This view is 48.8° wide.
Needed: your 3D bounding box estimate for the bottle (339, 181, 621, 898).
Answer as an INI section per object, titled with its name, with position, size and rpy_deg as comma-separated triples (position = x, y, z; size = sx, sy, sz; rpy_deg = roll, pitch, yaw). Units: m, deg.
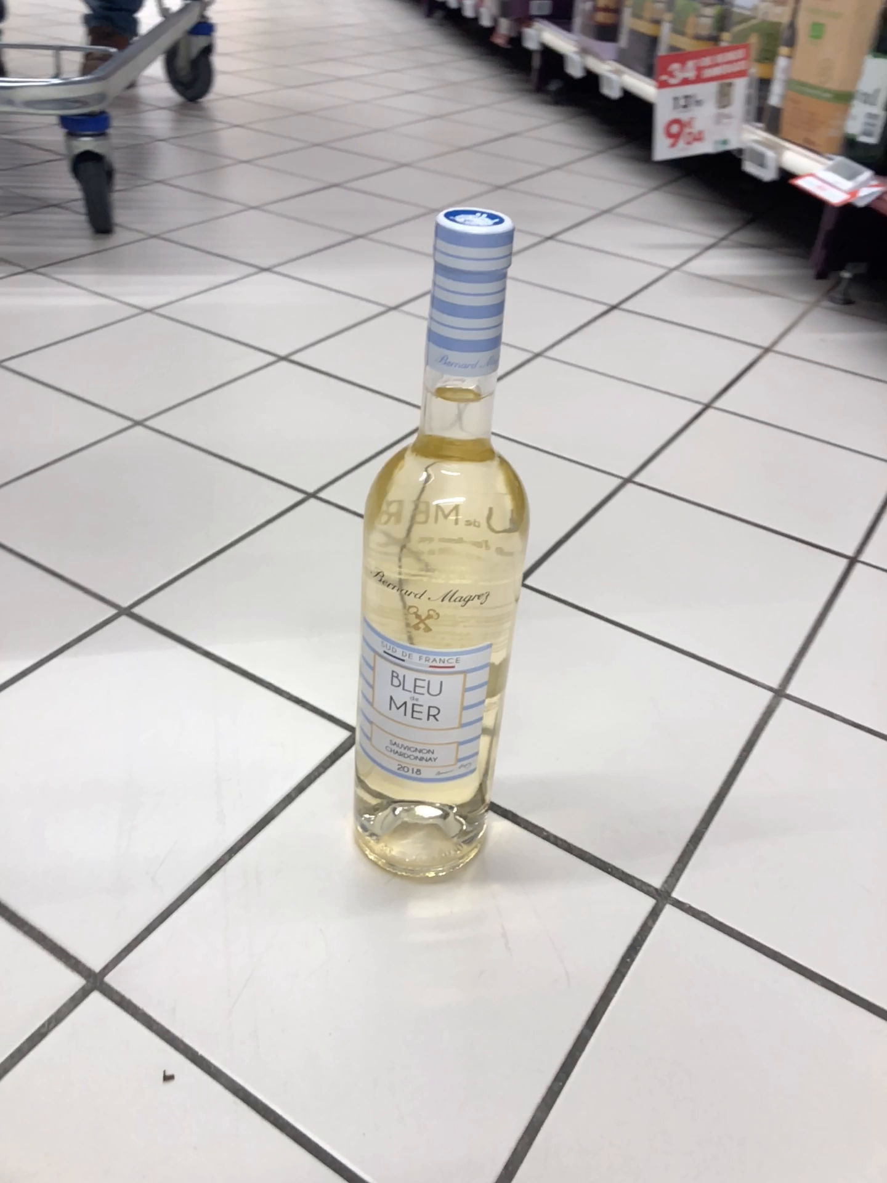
[bottle]
position = 0.007, -0.005, 0.432
size = 0.080, 0.308, 0.081
rpy_deg = 3, 35, -2
